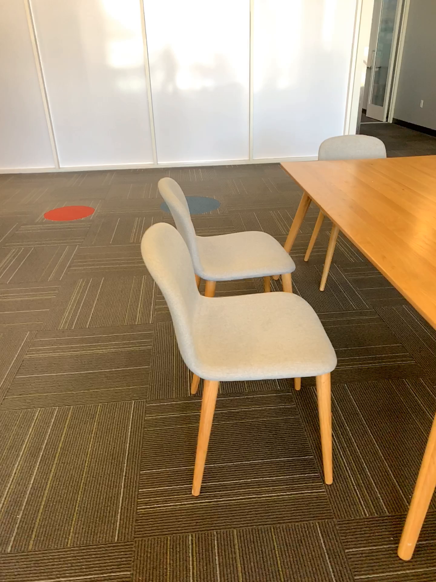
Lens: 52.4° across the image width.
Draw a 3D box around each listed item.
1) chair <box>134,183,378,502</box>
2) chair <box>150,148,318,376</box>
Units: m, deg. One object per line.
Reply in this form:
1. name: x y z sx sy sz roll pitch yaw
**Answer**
1. chair: 0.087 0.141 1.476 0.580 0.805 0.574 -6 28 -4
2. chair: 0.054 -0.158 2.035 0.580 0.805 0.574 -9 28 -9
